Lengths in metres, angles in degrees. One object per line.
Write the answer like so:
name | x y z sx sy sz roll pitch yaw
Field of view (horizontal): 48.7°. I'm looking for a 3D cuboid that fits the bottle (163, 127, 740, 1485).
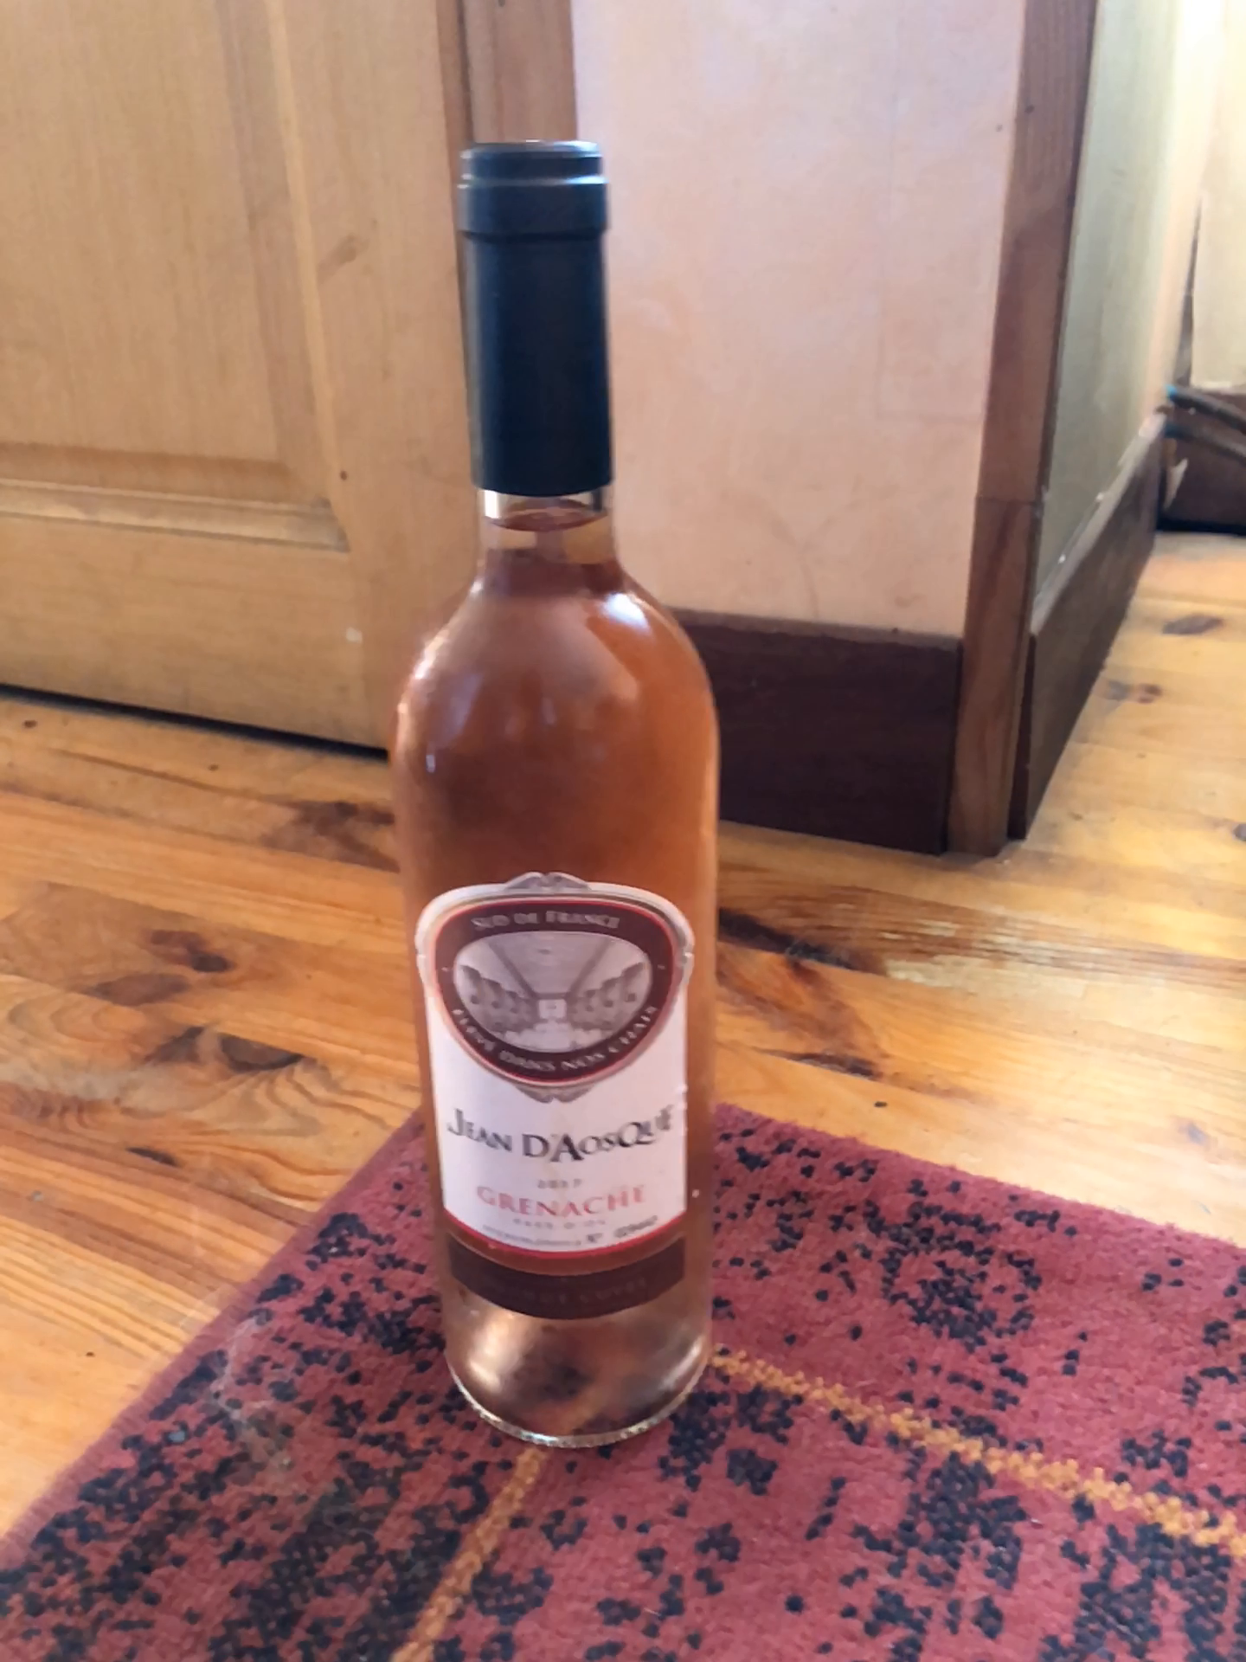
bottle | -0.022 0.011 0.320 0.090 0.308 0.080 -2 27 1
